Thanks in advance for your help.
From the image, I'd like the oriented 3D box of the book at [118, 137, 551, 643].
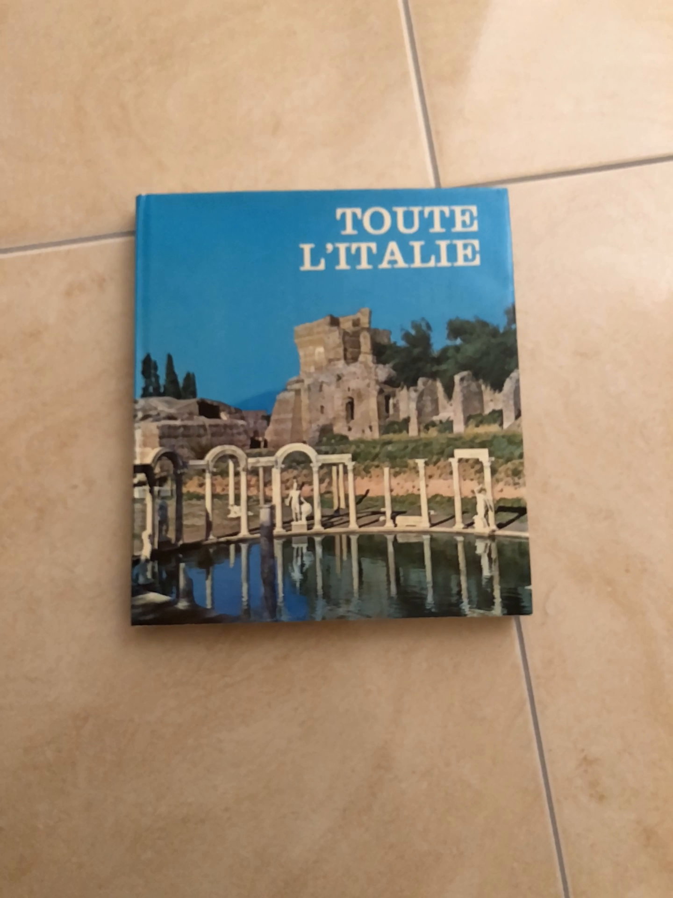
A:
[{"bbox_3d":[-0.005,-0.038,0.456,0.240,0.050,0.290,-2,83,-1],"label":"book"}]
